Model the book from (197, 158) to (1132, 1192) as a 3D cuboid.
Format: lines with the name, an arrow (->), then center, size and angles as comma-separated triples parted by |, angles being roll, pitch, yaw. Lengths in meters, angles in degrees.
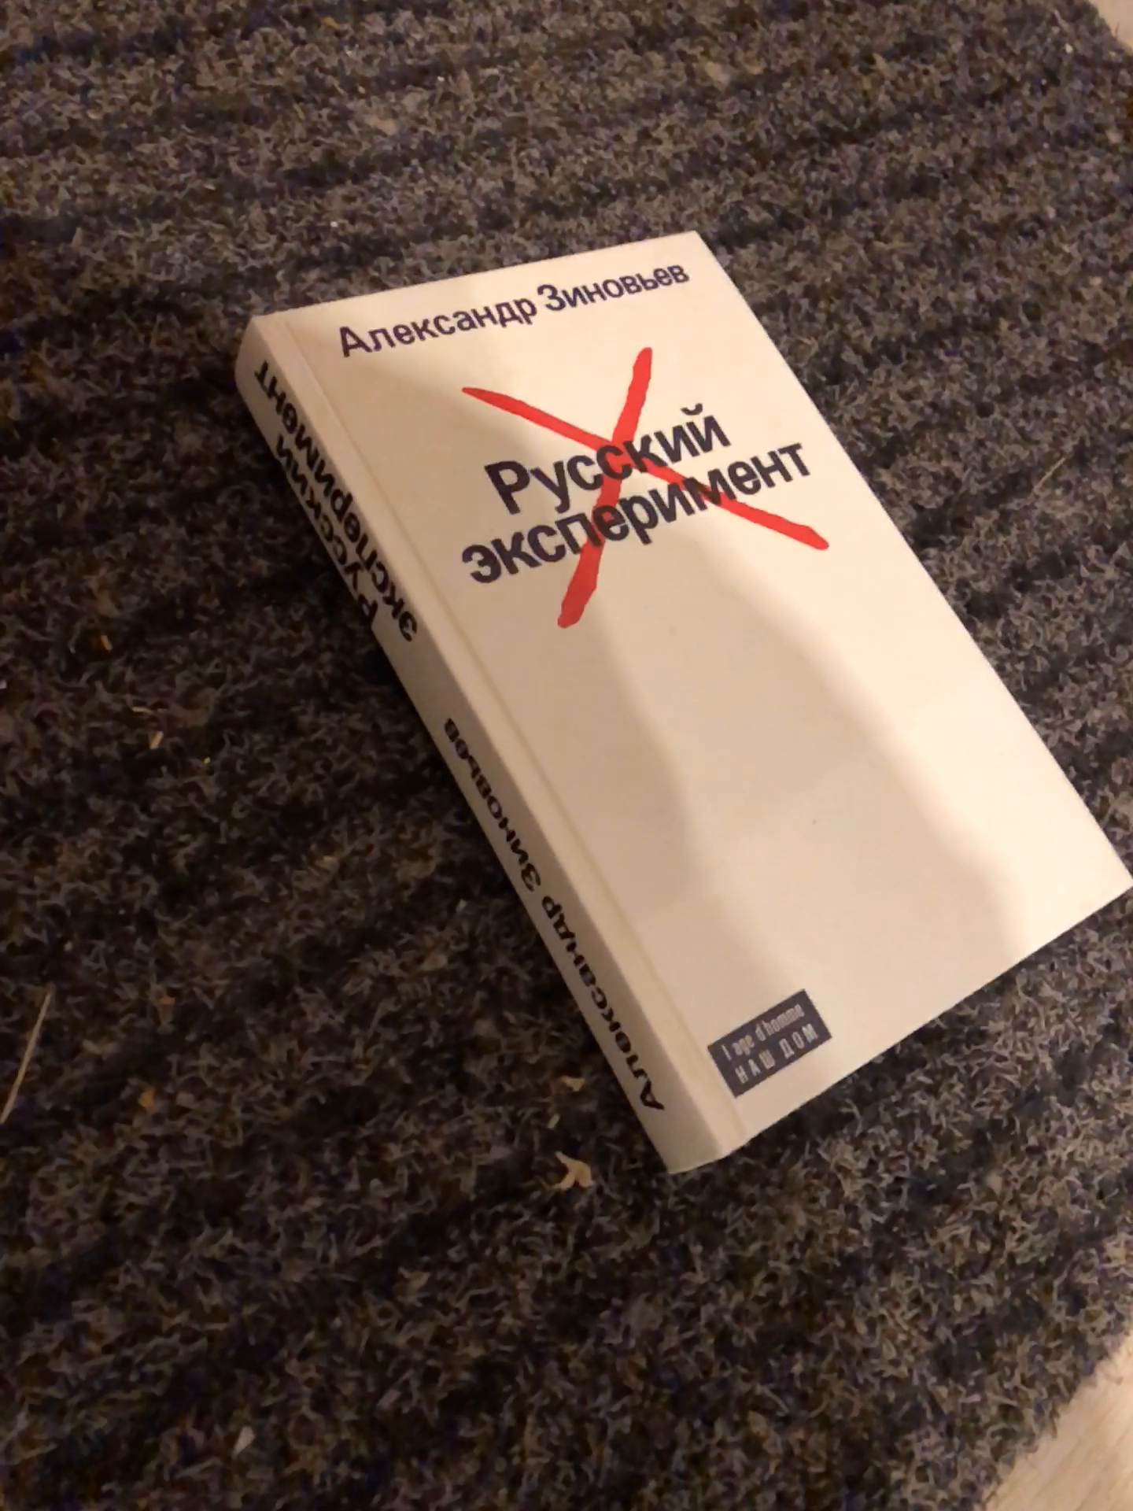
book -> 0.022, -0.030, 0.260 | 0.120, 0.040, 0.190 | -23, 75, -27
